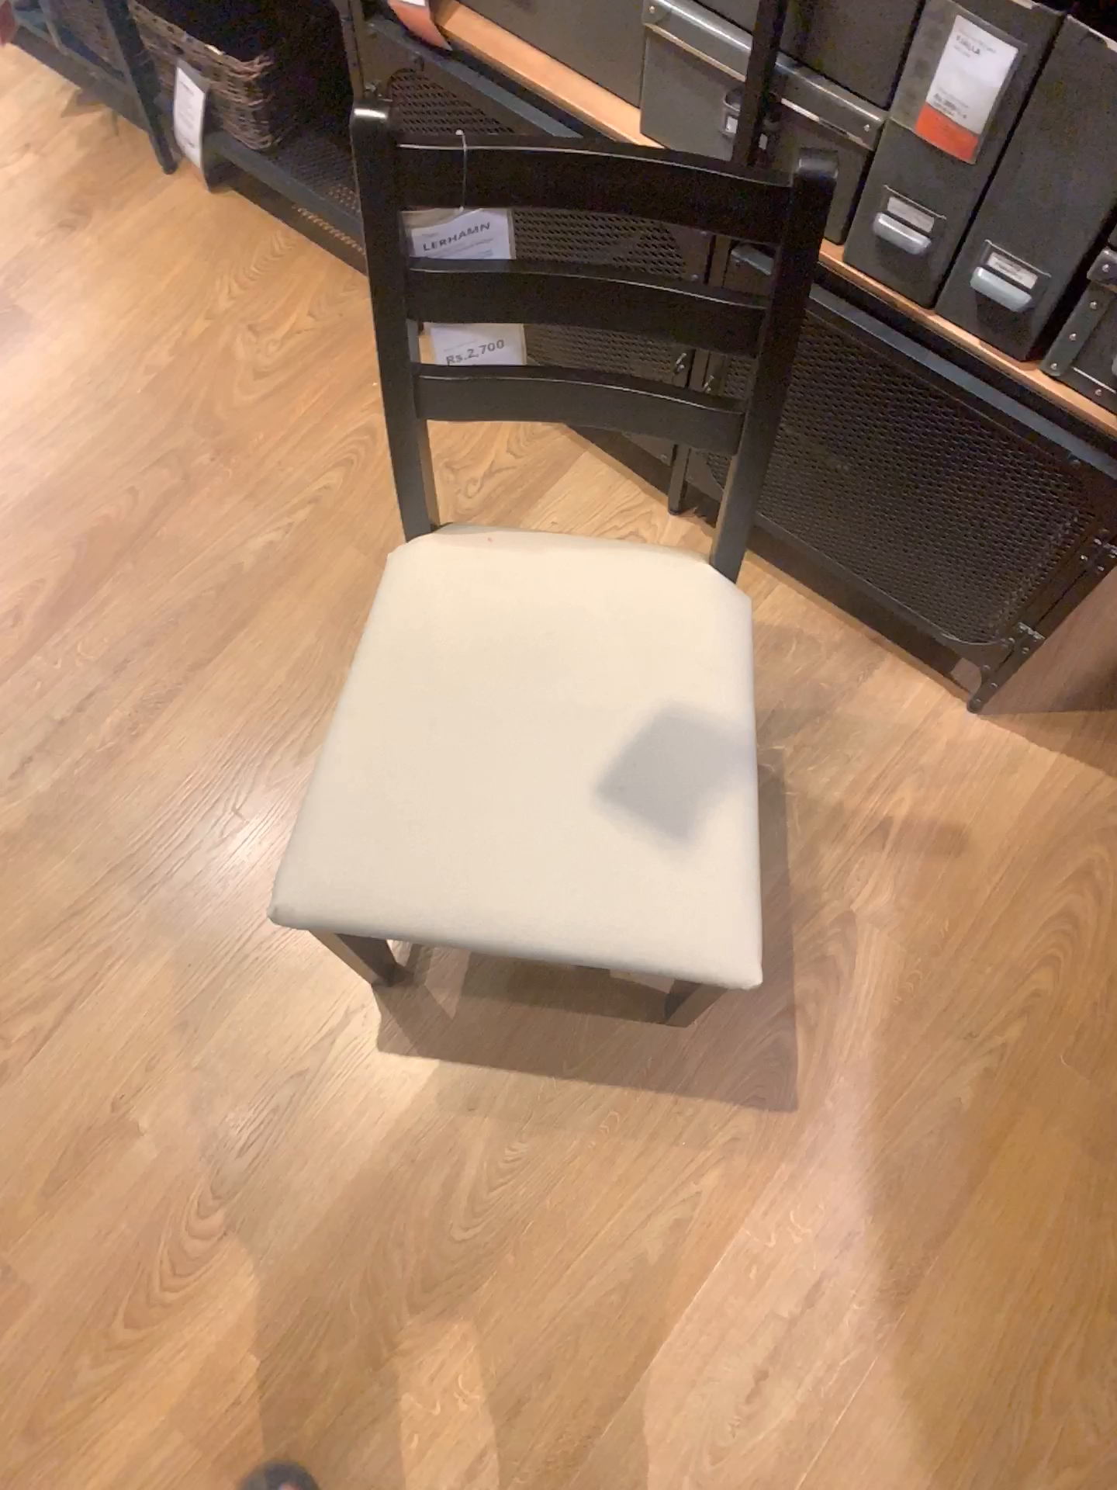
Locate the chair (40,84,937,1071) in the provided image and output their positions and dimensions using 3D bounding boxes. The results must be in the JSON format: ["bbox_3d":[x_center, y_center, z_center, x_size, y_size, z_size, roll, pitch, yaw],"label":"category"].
[{"bbox_3d":[-0.009,-0.025,0.963,0.400,0.769,0.470,8,70,3],"label":"chair"}]
